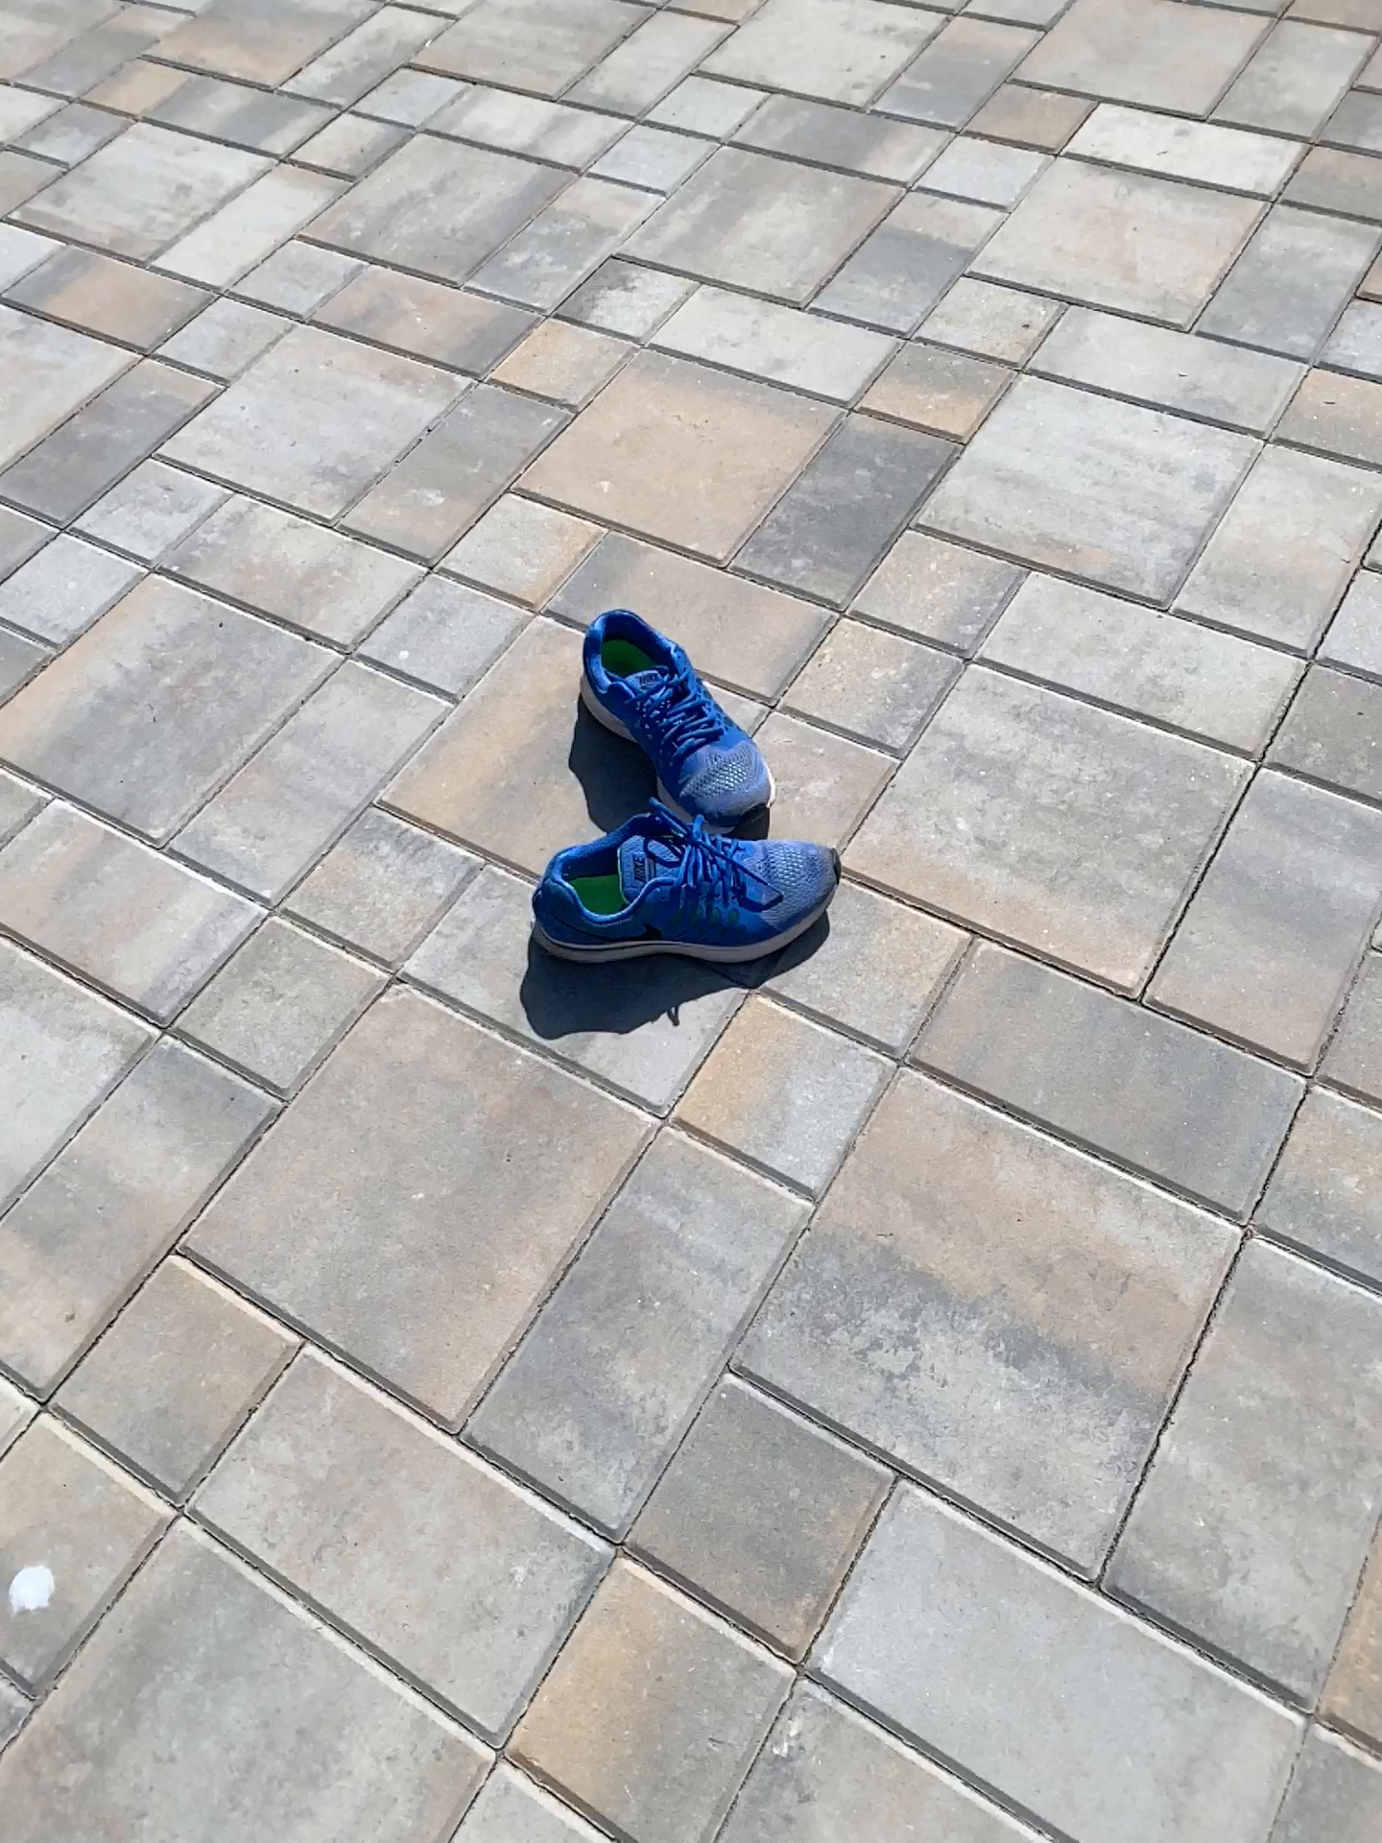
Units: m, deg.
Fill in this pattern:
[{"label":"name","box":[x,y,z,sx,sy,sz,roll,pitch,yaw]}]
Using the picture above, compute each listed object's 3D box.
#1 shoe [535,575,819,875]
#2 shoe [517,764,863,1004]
[{"label":"shoe","box":[-0.015,-0.187,1.307,0.120,0.080,0.281,-32,60,-14]},{"label":"shoe","box":[0.000,-0.031,1.205,0.270,0.110,0.120,-10,57,-1]}]
